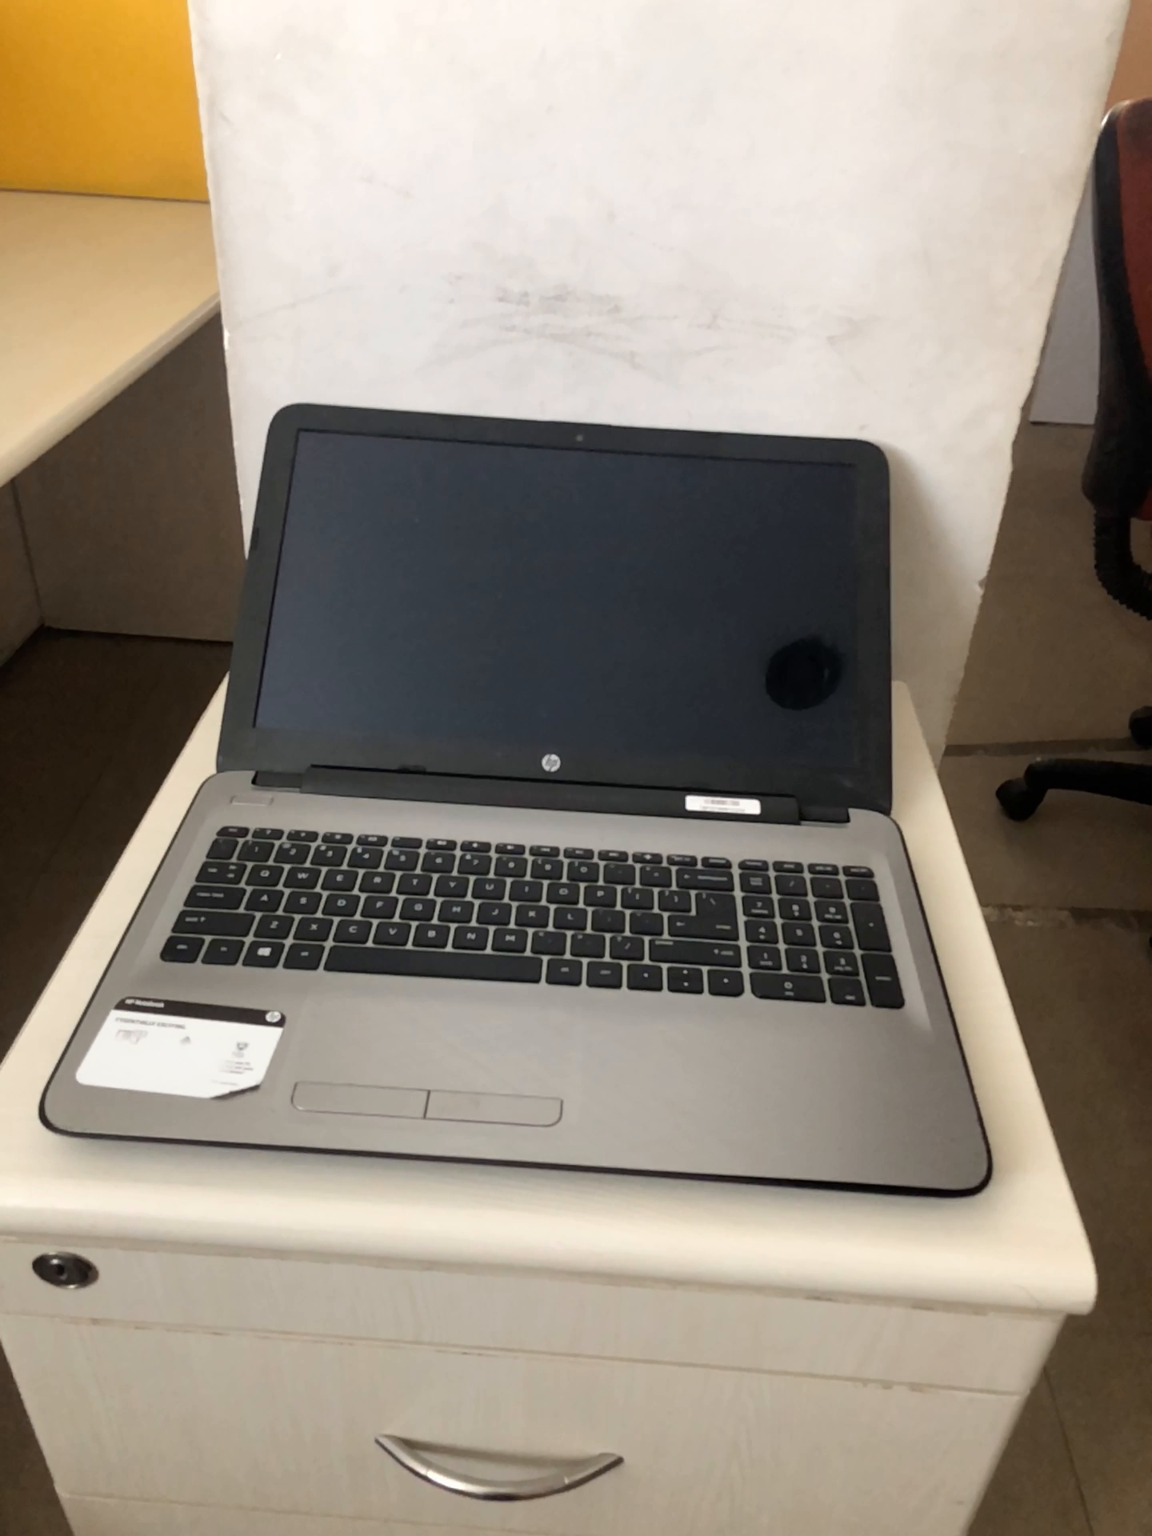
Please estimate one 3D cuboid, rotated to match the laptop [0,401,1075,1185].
[{"bbox_3d":[-0.011,-0.031,0.622,0.361,0.136,0.428,4,35,1],"label":"laptop"}]
